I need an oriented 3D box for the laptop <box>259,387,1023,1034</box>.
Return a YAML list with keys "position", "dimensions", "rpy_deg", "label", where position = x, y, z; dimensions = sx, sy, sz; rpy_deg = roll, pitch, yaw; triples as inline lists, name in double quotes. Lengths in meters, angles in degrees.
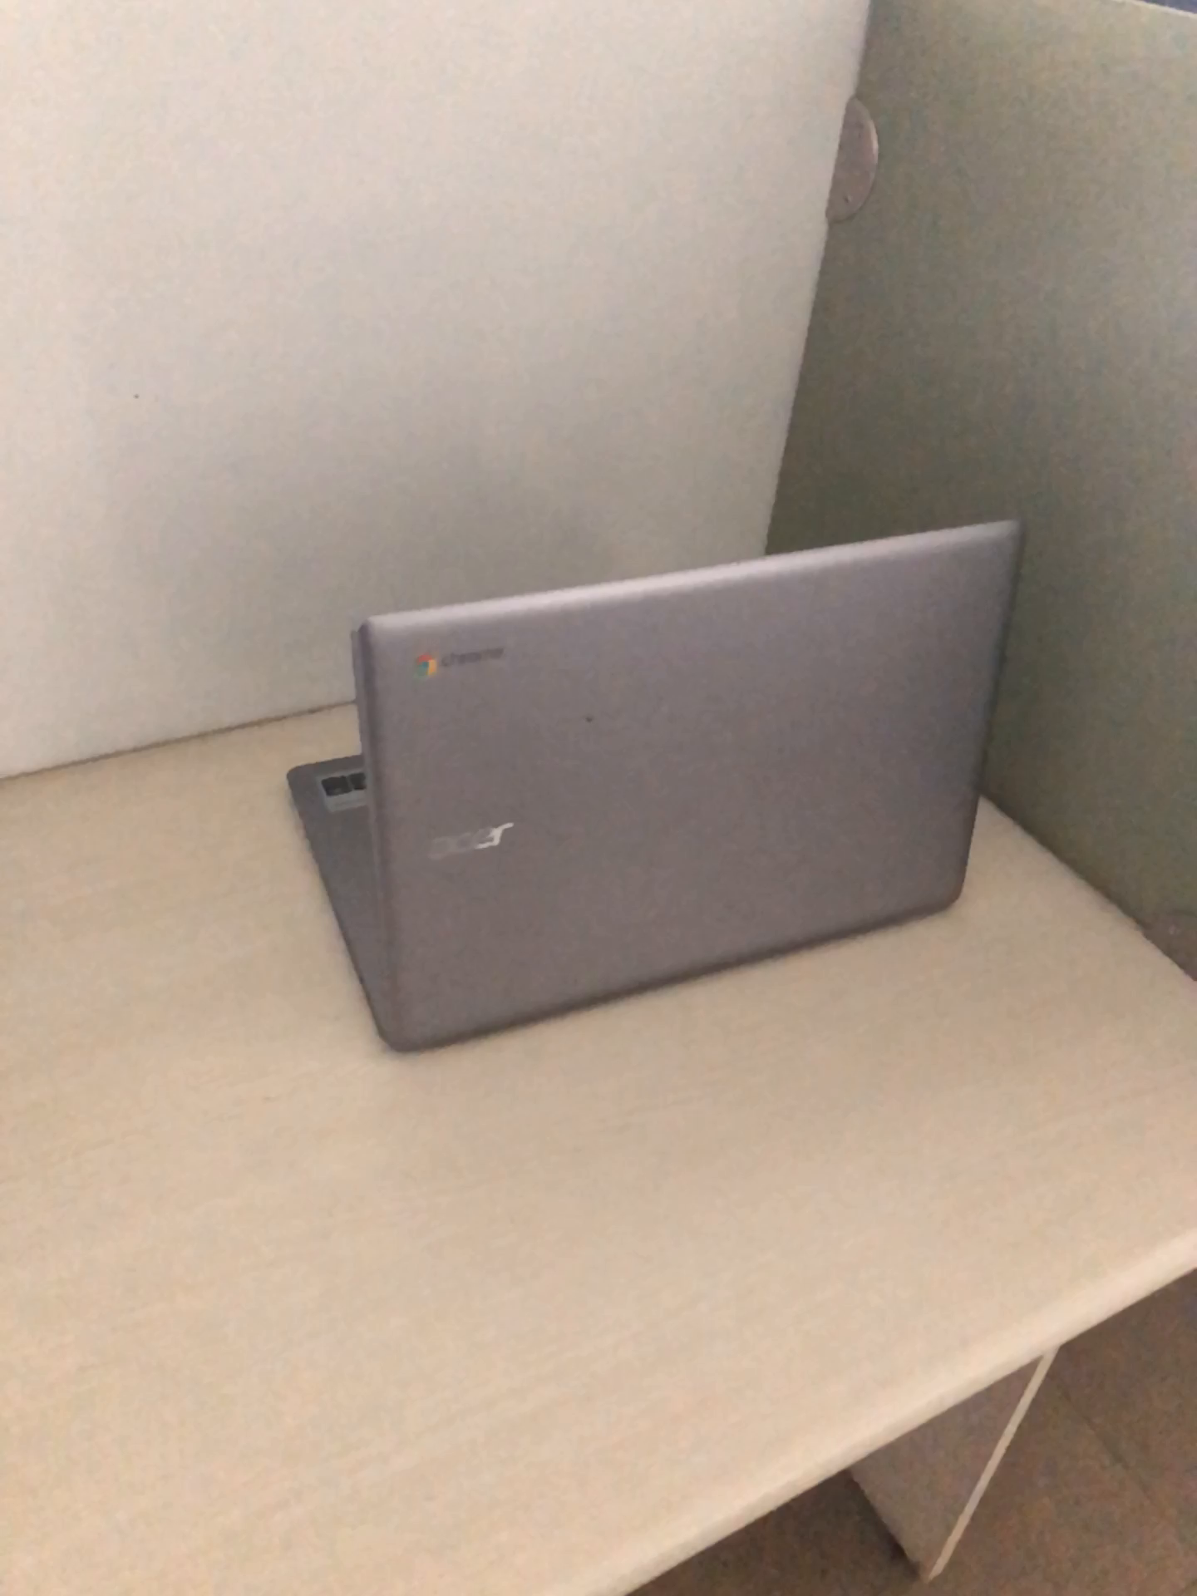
- position: [0.010, -0.068, 0.704]
  dimensions: [0.321, 0.218, 0.222]
  rpy_deg: [-11, 39, -24]
  label: "laptop"
